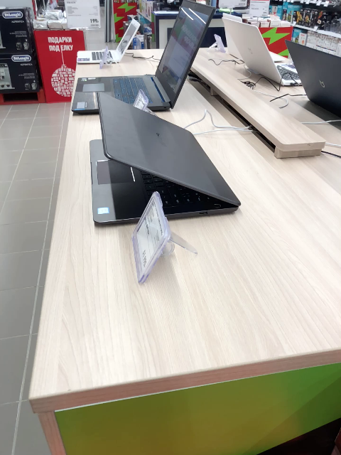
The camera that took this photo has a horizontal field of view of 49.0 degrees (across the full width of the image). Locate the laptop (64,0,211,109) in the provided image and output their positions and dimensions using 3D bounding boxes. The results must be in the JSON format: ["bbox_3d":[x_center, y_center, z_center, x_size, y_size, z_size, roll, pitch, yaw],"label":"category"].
[{"bbox_3d":[-0.107,-0.551,1.156,0.377,0.230,0.350,-6,35,-9],"label":"laptop"}]

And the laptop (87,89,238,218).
[{"bbox_3d":[-0.038,-0.163,0.711,0.221,0.099,0.346,-7,33,-7],"label":"laptop"}]
